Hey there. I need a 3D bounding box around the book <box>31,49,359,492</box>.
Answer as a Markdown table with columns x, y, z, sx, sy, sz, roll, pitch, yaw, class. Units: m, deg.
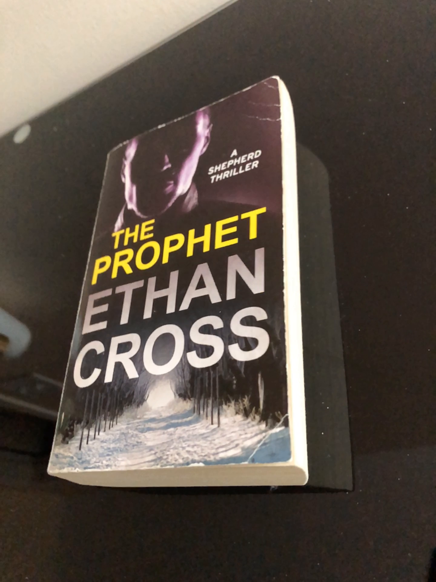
| x | y | z | sx | sy | sz | roll | pitch | yaw | class |
| --- | --- | --- | --- | --- | --- | --- | --- | --- | --- |
| -0.008 | -0.009 | 0.220 | 0.115 | 0.040 | 0.180 | -12 | 59 | 27 | book |
